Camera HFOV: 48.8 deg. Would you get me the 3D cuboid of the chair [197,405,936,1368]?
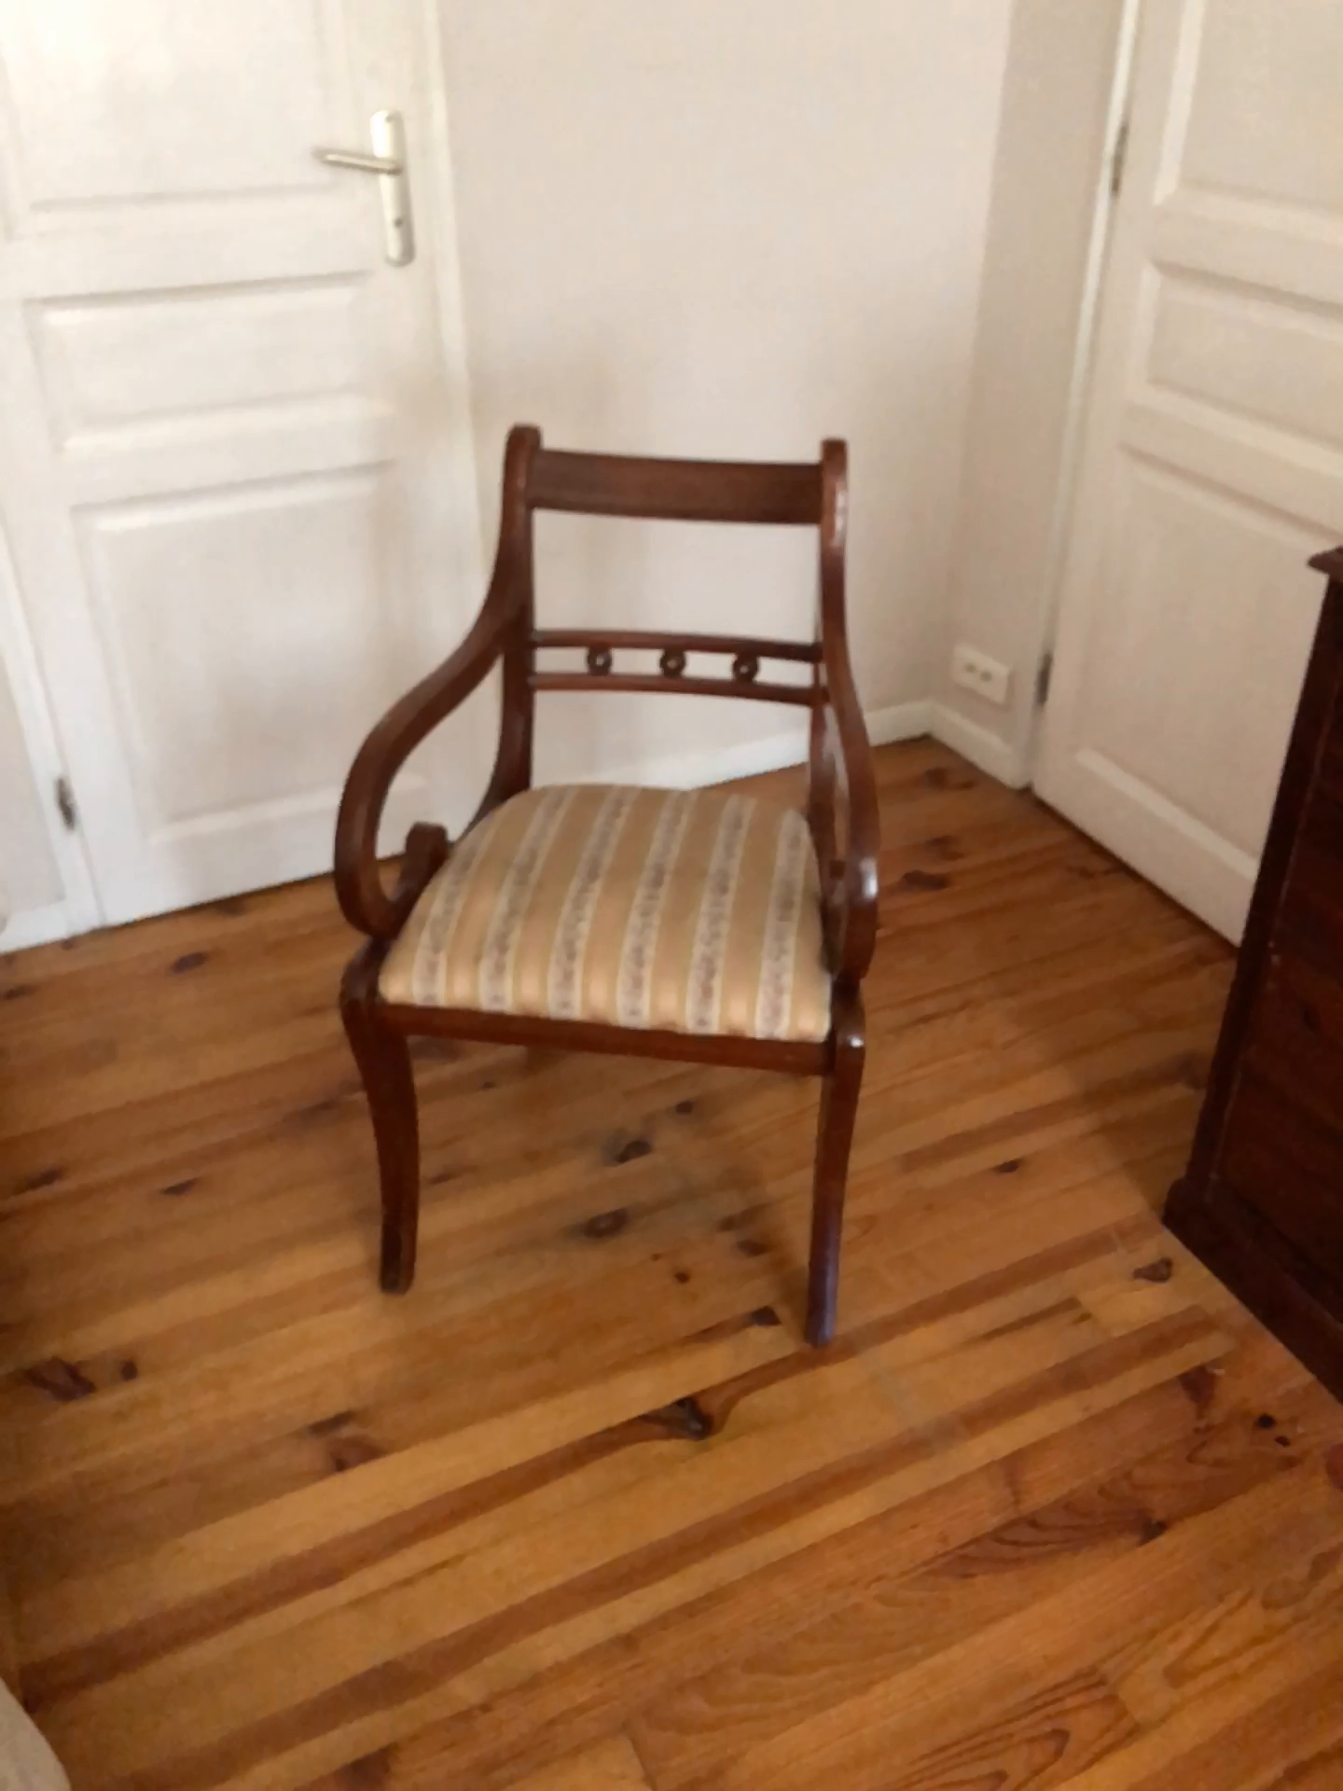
[{"bbox_3d":[-0.053,-0.032,1.627,0.580,0.825,0.574,6,32,9],"label":"chair"}]
